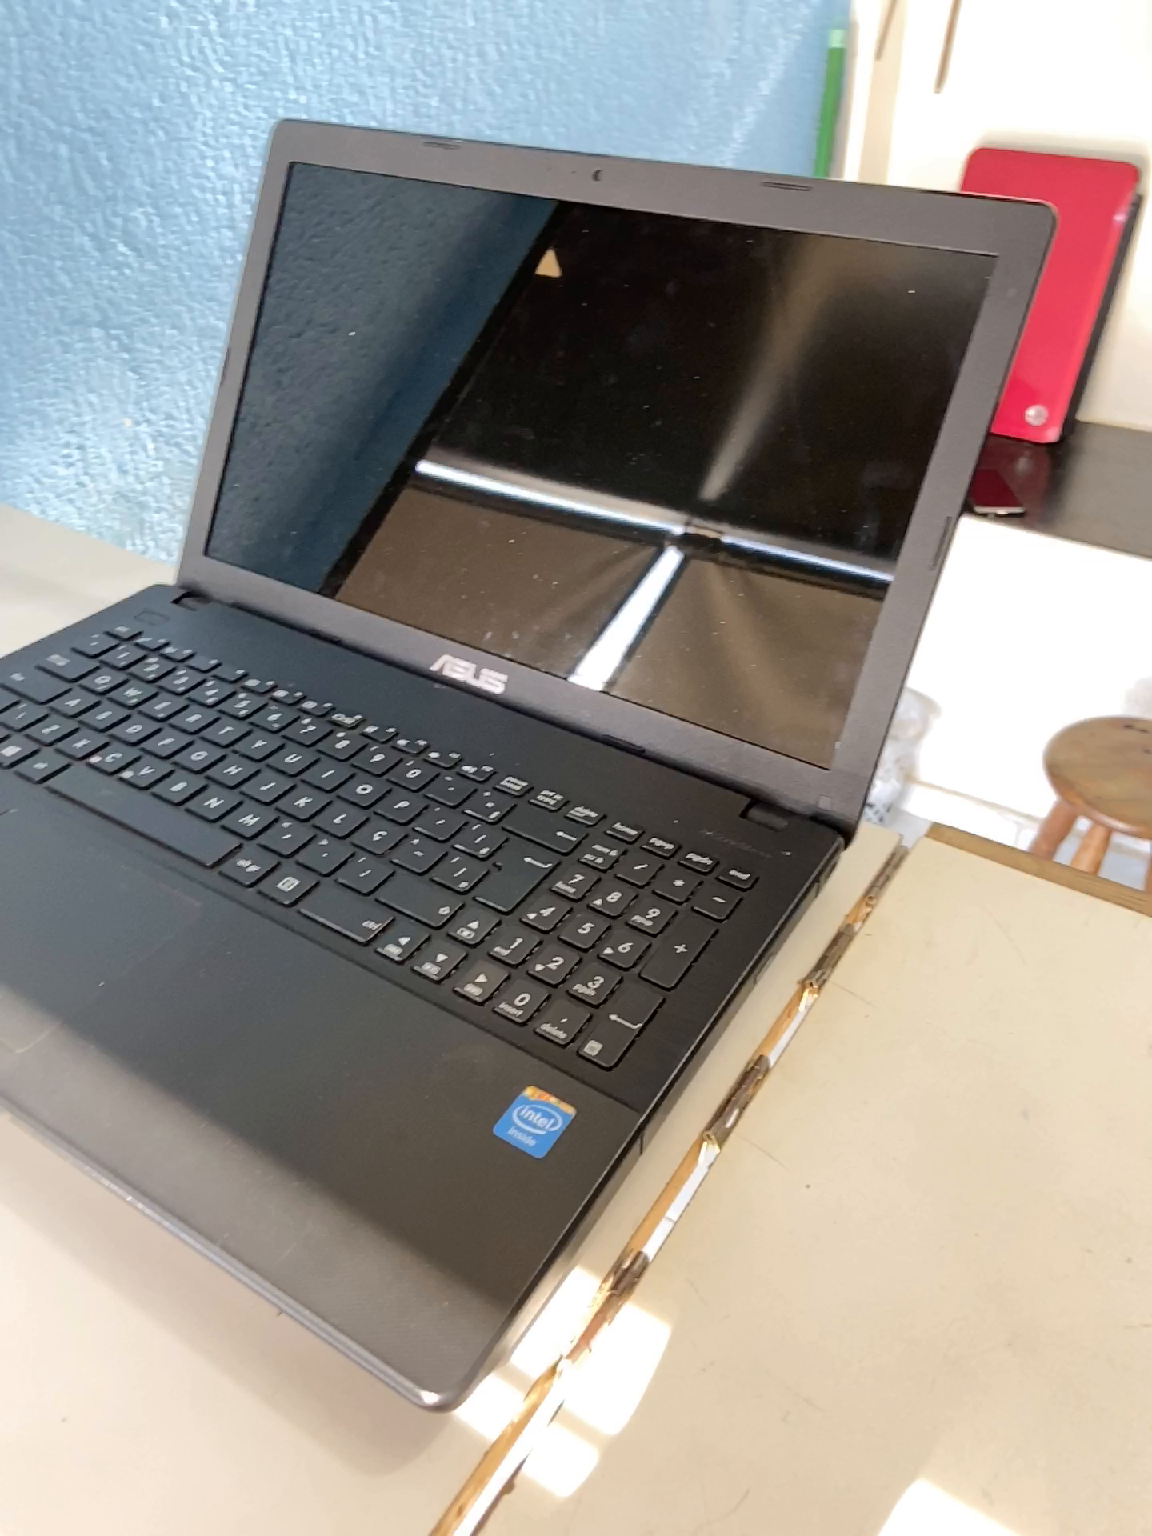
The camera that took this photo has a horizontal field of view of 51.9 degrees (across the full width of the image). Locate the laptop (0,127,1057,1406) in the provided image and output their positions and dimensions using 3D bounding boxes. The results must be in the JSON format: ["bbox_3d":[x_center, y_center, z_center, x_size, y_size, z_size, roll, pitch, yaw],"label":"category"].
[{"bbox_3d":[-0.089,-0.084,0.420,0.368,0.200,0.363,20,39,28],"label":"laptop"}]
